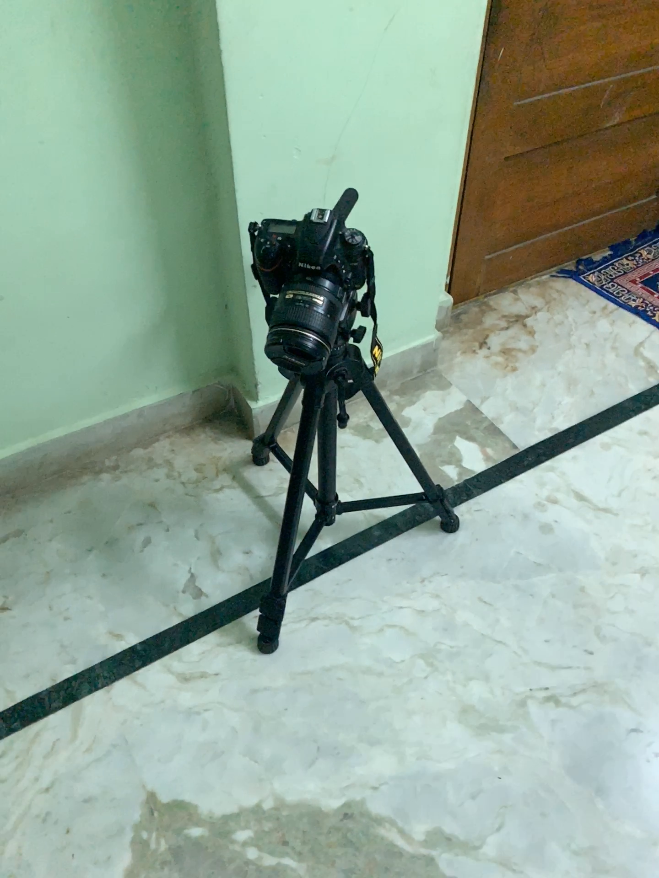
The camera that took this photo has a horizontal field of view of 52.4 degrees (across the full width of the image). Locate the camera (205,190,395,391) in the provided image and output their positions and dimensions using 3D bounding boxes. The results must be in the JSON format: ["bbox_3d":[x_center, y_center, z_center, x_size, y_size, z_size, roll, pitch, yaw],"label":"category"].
[{"bbox_3d":[-0.027,-0.178,0.805,0.170,0.110,0.180,12,72,12],"label":"camera"}]
